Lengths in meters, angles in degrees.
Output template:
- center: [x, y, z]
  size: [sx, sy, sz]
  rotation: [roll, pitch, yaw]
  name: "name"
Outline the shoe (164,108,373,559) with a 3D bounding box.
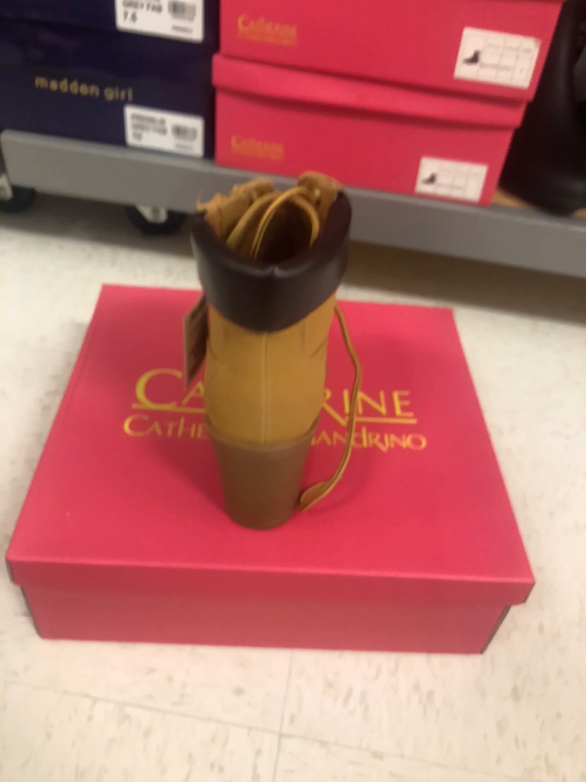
- center: [-0.010, -0.044, 0.401]
  size: [0.085, 0.169, 0.218]
  rotation: [6, 42, -1]
  name: "shoe"
